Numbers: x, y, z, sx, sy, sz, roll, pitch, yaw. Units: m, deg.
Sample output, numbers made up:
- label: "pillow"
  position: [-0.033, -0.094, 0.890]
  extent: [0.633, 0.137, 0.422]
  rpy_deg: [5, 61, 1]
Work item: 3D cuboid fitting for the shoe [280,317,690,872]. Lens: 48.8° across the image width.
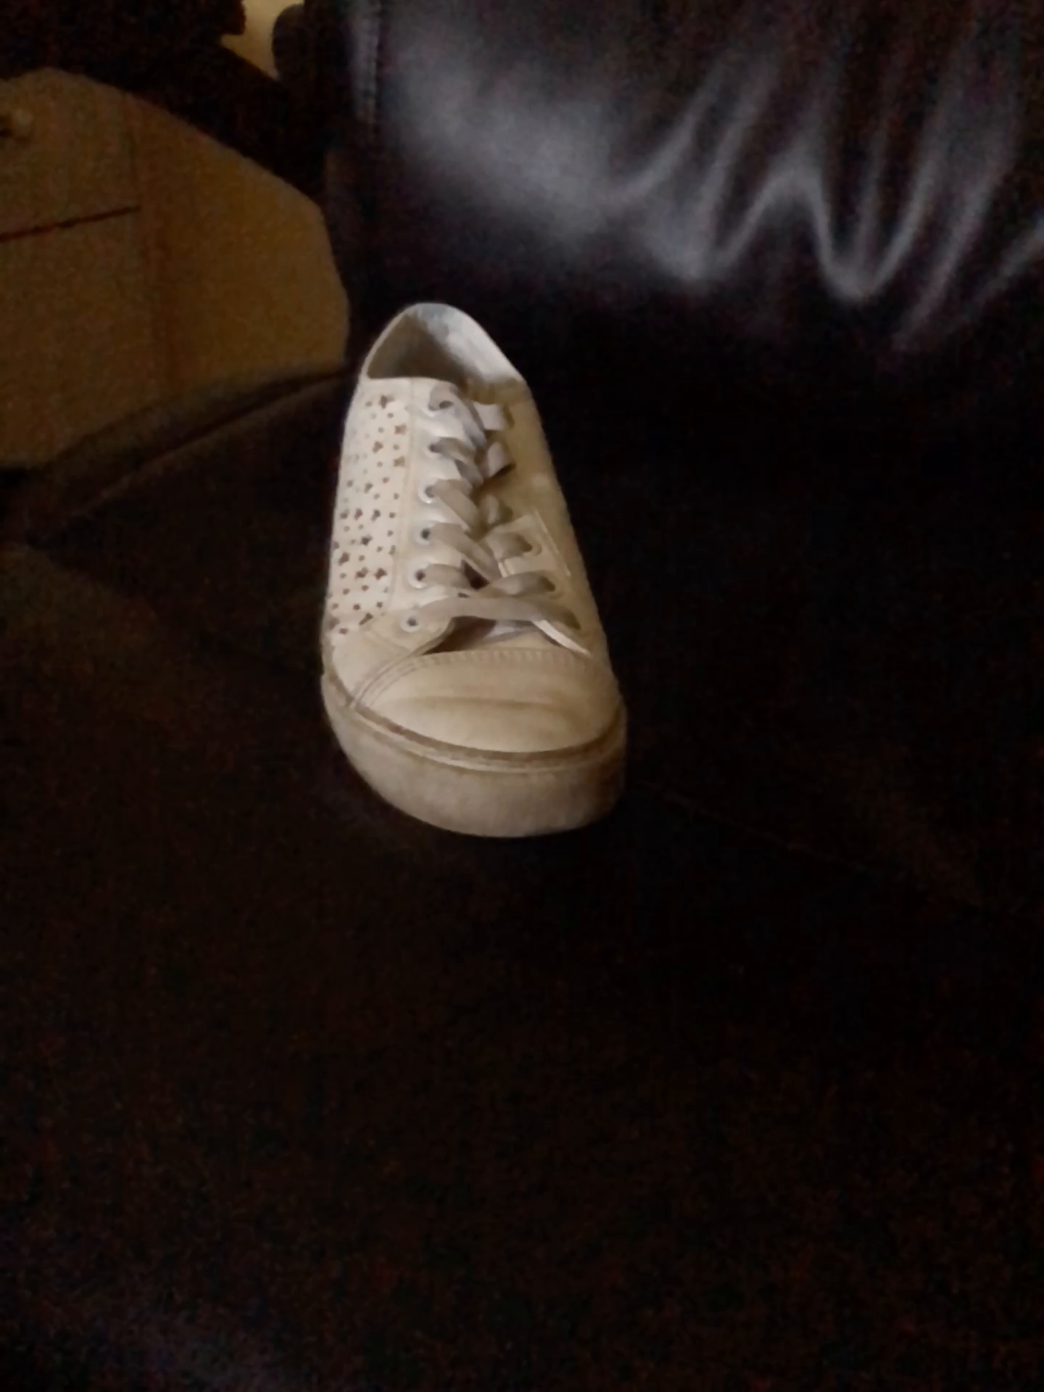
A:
- label: "shoe"
  position: [-0.026, -0.060, 0.416]
  extent: [0.100, 0.099, 0.261]
  rpy_deg: [-2, 29, -7]
